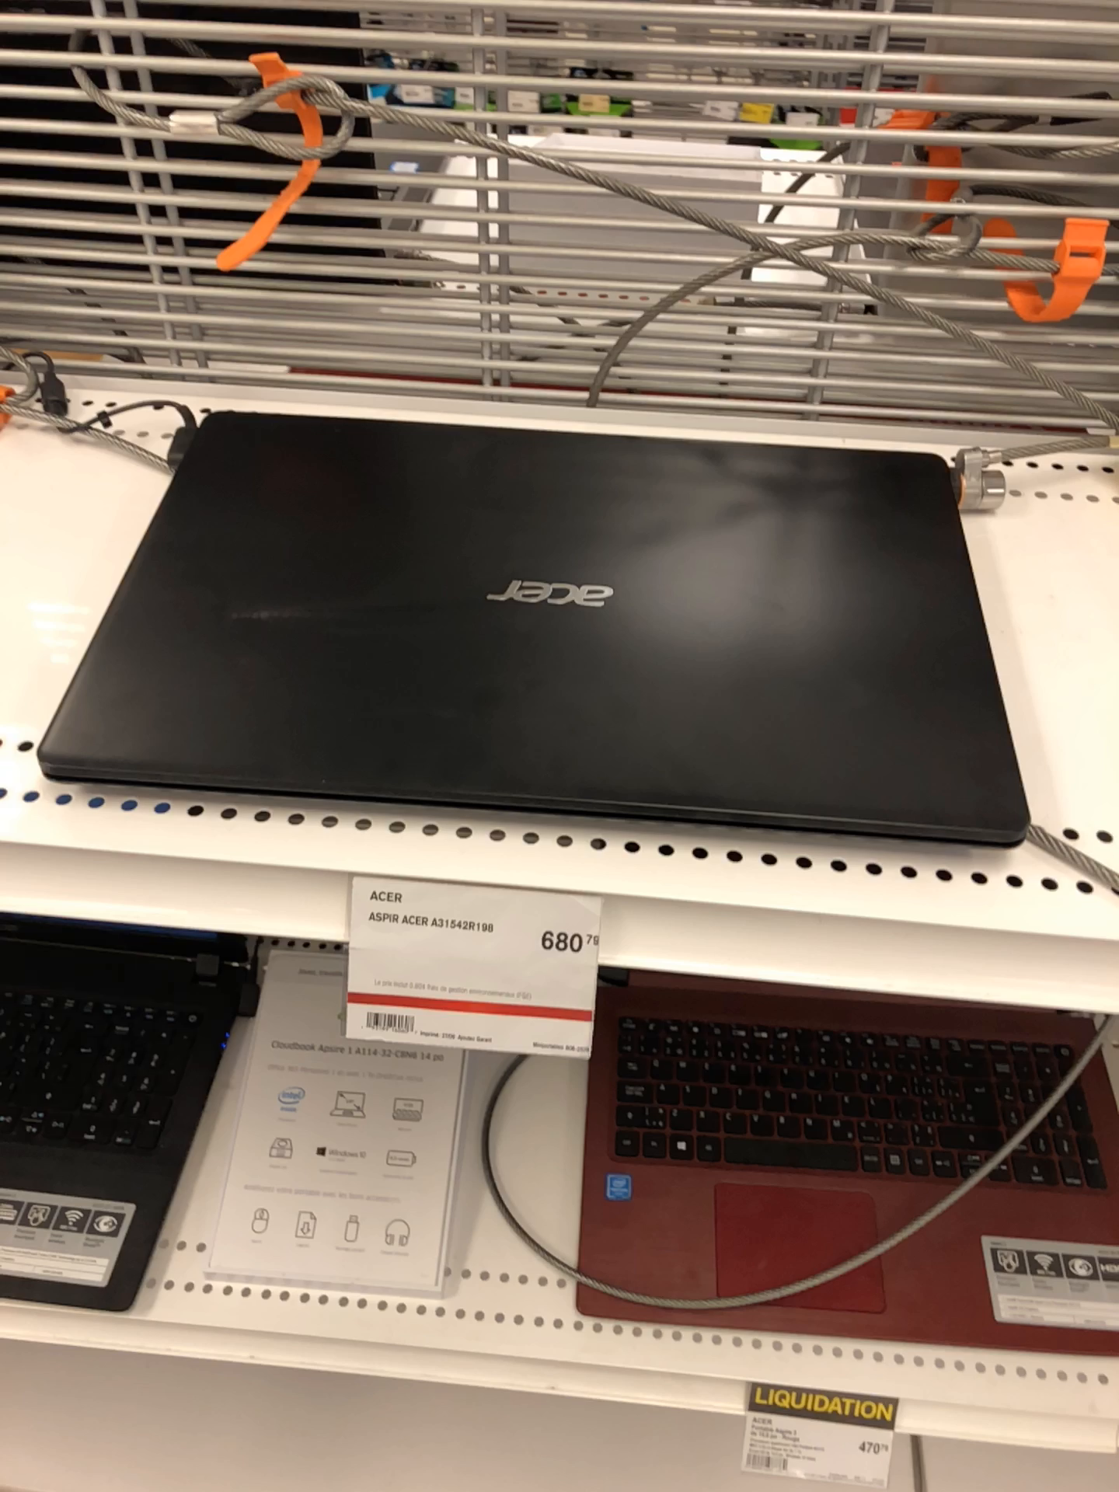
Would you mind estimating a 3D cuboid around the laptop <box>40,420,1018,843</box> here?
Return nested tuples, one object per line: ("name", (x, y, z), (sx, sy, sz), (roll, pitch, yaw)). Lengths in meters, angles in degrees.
("laptop", (-0.003, -0.063, 0.527), (0.354, 0.006, 0.232), (4, 46, 2))
